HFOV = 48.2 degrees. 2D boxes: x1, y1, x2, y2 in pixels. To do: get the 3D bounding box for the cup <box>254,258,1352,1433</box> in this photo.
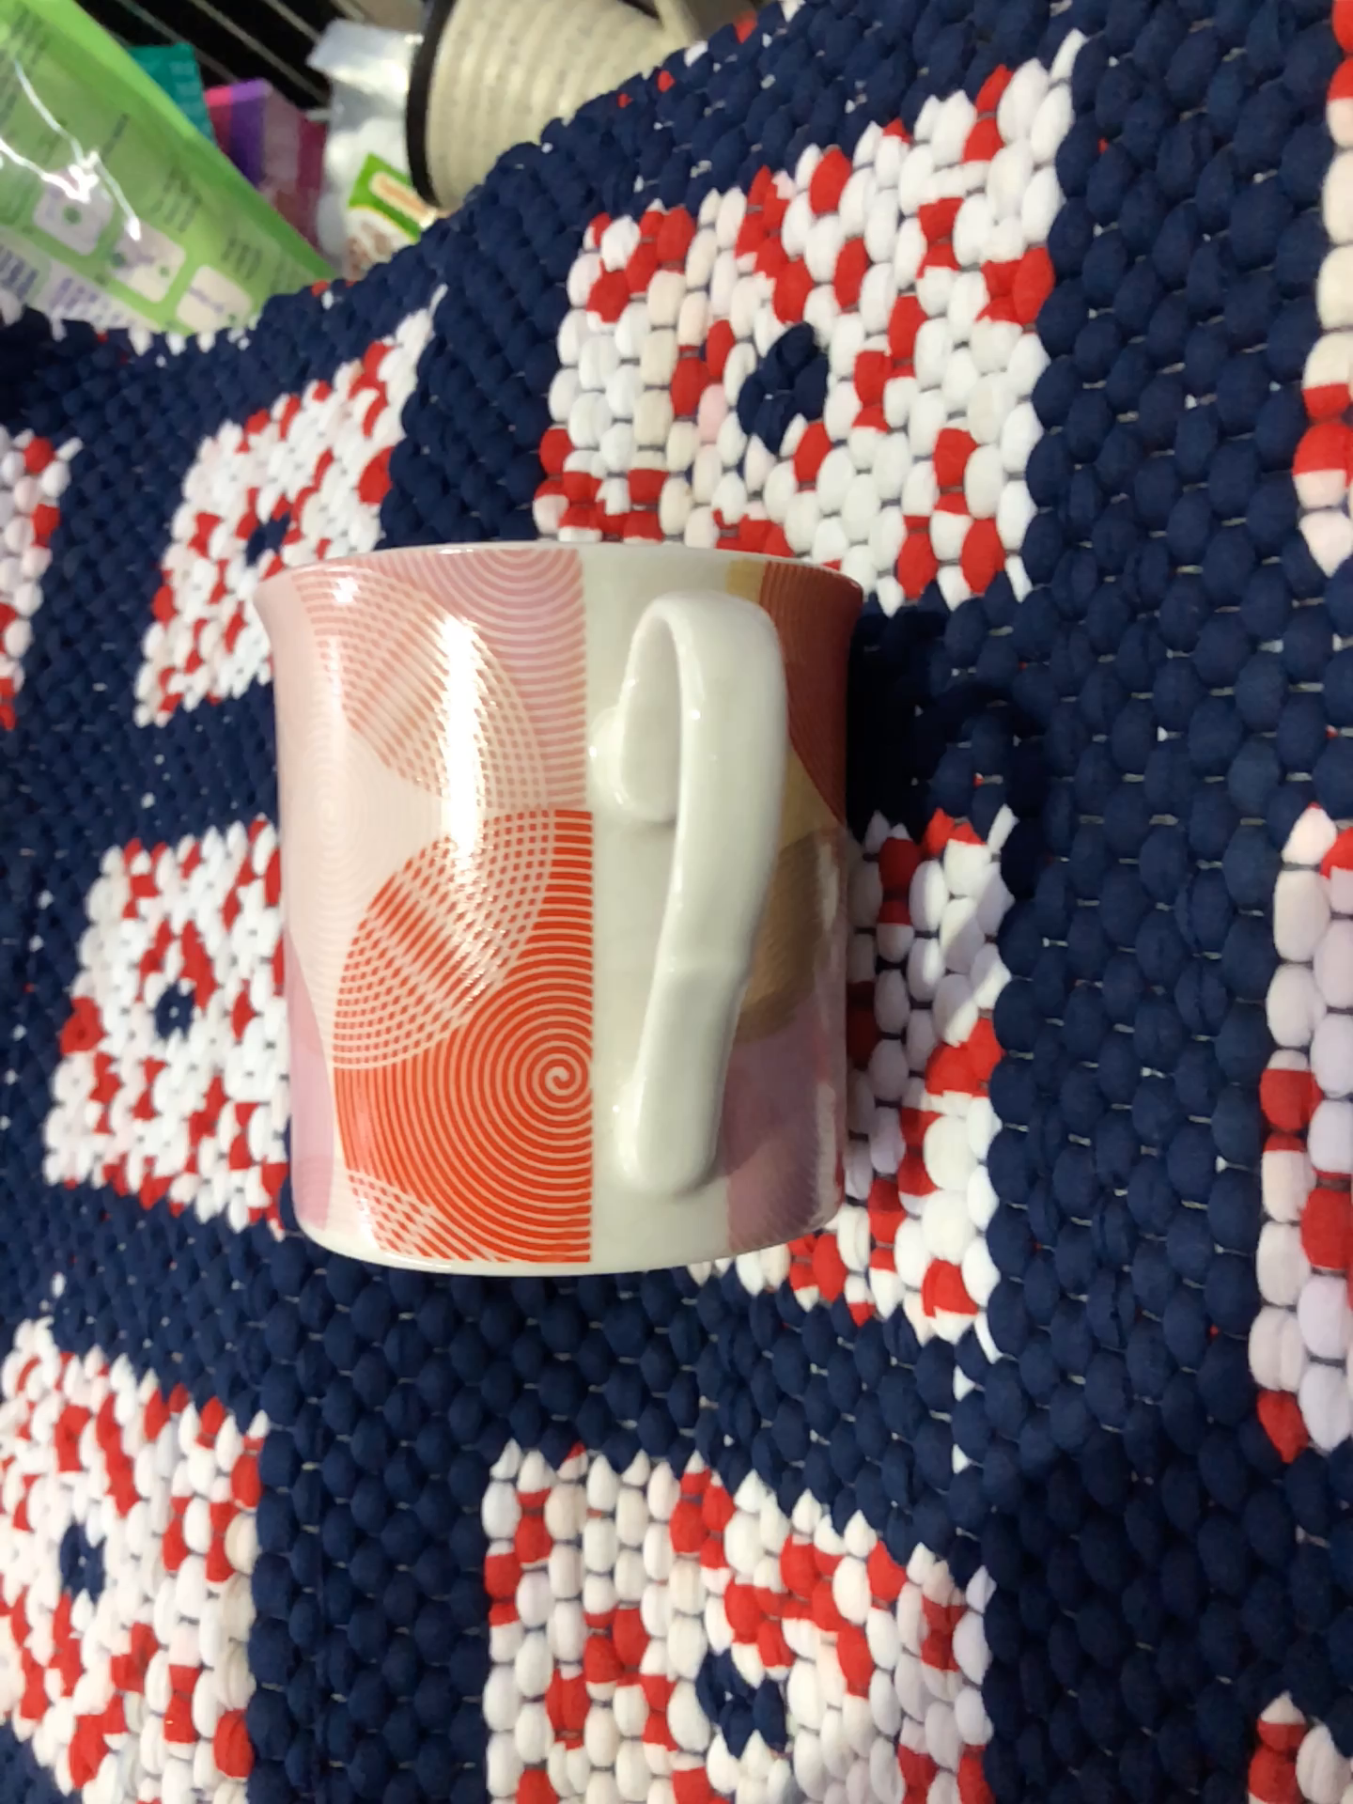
[{"bbox_3d":[0.006,-0.002,0.203,0.120,0.100,0.100,176,96,-66],"label":"cup"}]
